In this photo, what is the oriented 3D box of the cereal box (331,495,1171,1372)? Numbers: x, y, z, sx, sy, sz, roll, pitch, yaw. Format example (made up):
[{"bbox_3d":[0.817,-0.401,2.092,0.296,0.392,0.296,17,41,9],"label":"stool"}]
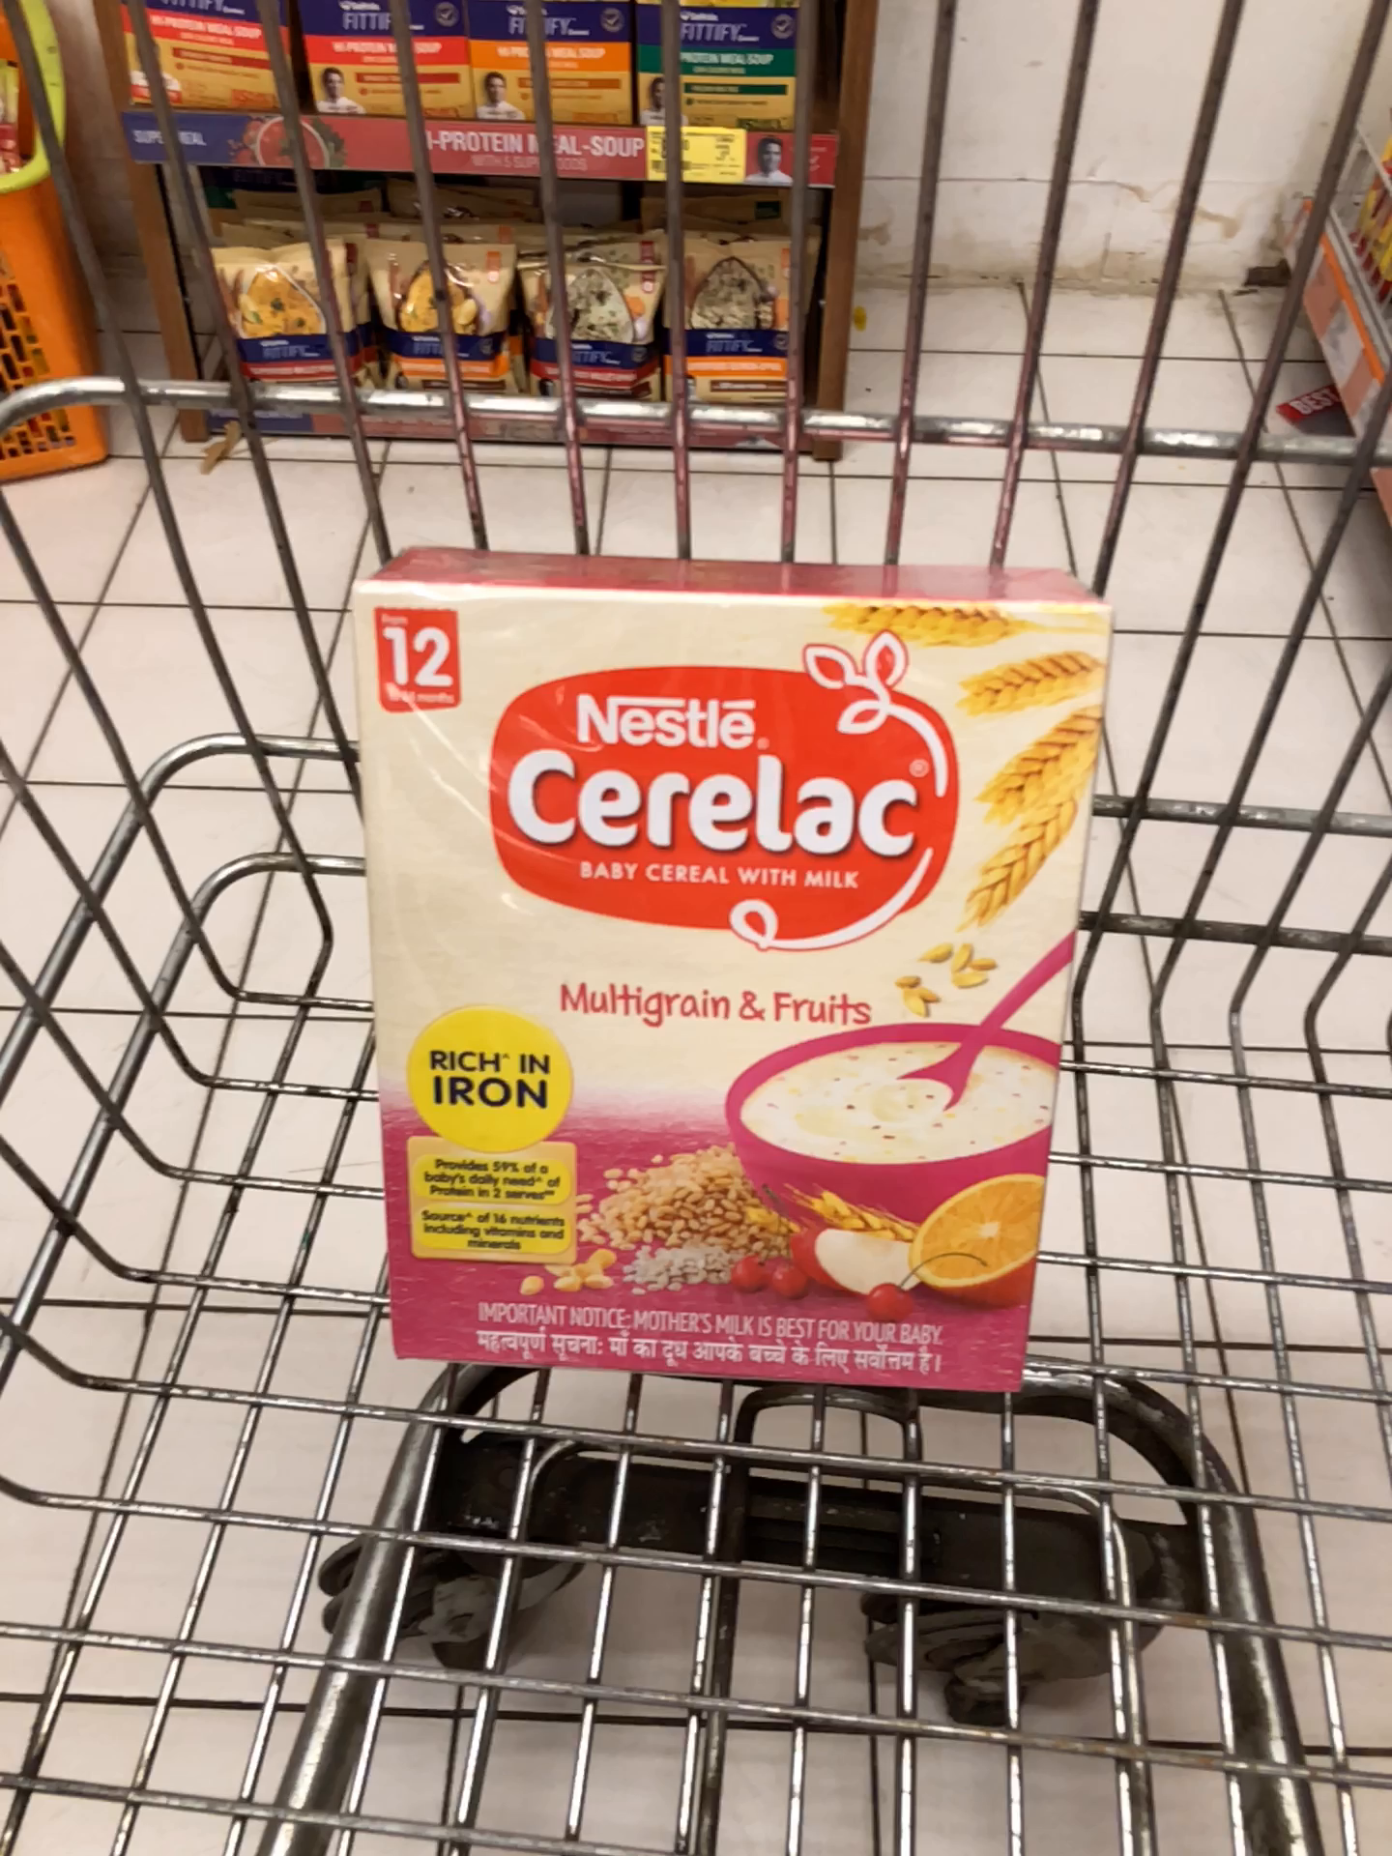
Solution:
[{"bbox_3d":[0.008,0.004,0.351,0.160,0.189,0.050,2,22,2],"label":"cereal box"}]
